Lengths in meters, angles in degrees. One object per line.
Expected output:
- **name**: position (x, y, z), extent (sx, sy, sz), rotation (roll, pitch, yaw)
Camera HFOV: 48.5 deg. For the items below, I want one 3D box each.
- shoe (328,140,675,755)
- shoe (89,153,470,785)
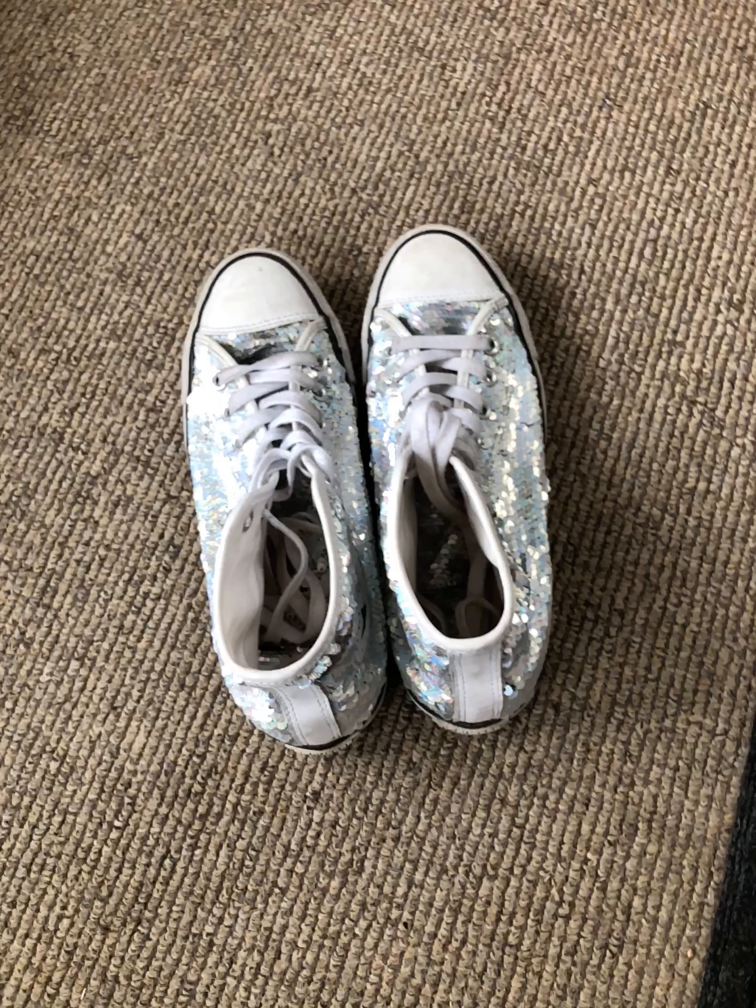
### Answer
- **shoe**: position (0.045, -0.020, 0.411), extent (0.111, 0.128, 0.264), rotation (-5, 72, 1)
- **shoe**: position (-0.048, -0.010, 0.418), extent (0.111, 0.138, 0.264), rotation (-13, 72, -2)
